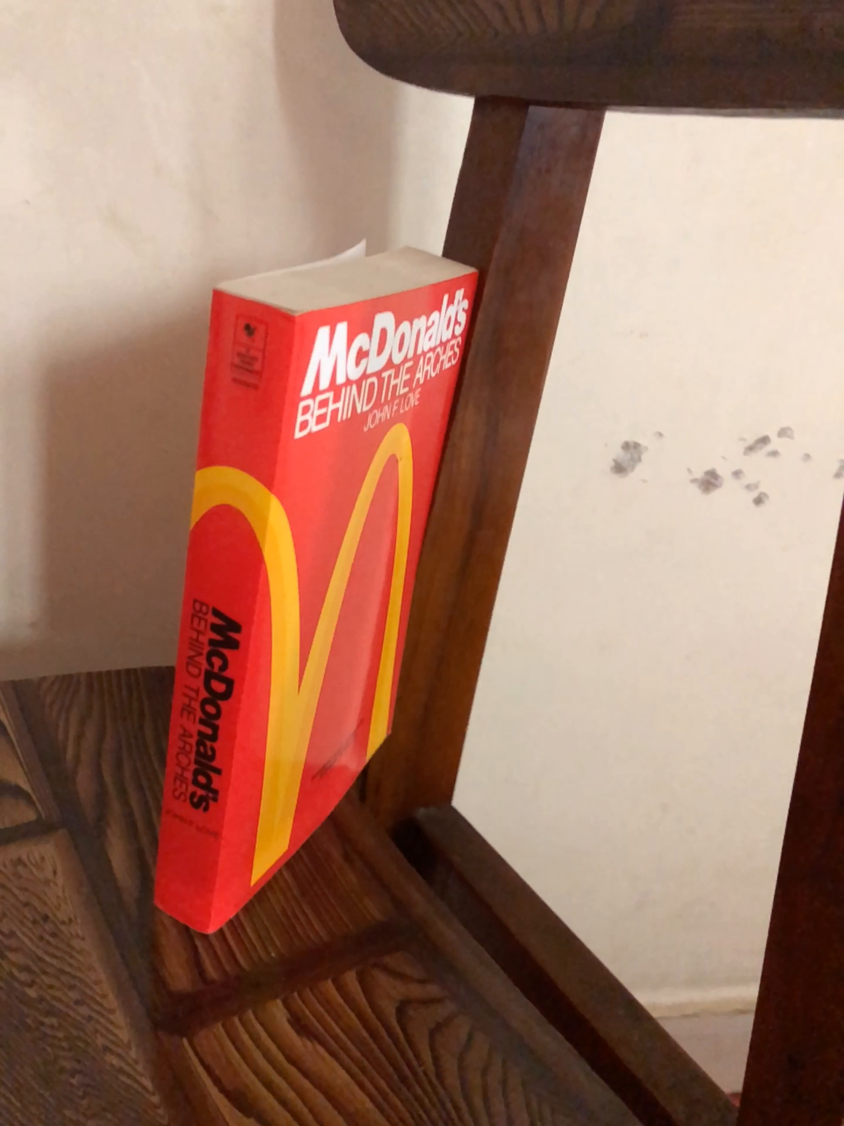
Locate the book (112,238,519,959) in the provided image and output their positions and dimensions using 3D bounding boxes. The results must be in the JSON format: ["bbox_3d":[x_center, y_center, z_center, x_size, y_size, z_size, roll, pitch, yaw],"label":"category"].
[{"bbox_3d":[-0.036,-0.001,0.380,0.040,0.239,0.191,19,23,17],"label":"book"}]
